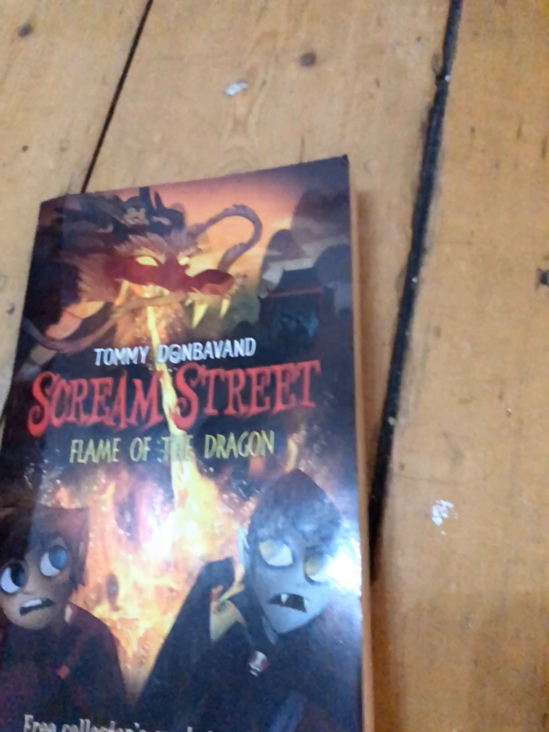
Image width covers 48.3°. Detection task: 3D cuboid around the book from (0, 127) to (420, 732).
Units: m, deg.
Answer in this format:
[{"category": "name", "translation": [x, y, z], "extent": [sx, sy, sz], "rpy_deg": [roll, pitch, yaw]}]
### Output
[{"category": "book", "translation": [-0.025, 0.021, 0.211], "extent": [0.130, 0.040, 0.200], "rpy_deg": [-3, 70, 10]}]
